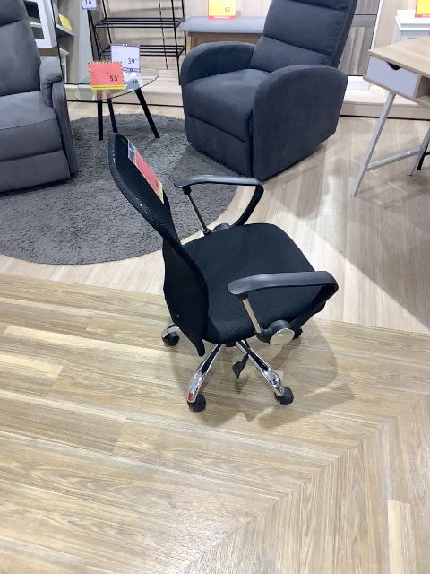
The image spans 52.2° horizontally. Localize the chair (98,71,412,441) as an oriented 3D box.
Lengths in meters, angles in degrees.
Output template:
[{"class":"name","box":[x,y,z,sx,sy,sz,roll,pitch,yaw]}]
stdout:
[{"class":"chair","box":[0.059,-0.090,1.412,0.600,0.865,0.644,-14,45,-11]}]
